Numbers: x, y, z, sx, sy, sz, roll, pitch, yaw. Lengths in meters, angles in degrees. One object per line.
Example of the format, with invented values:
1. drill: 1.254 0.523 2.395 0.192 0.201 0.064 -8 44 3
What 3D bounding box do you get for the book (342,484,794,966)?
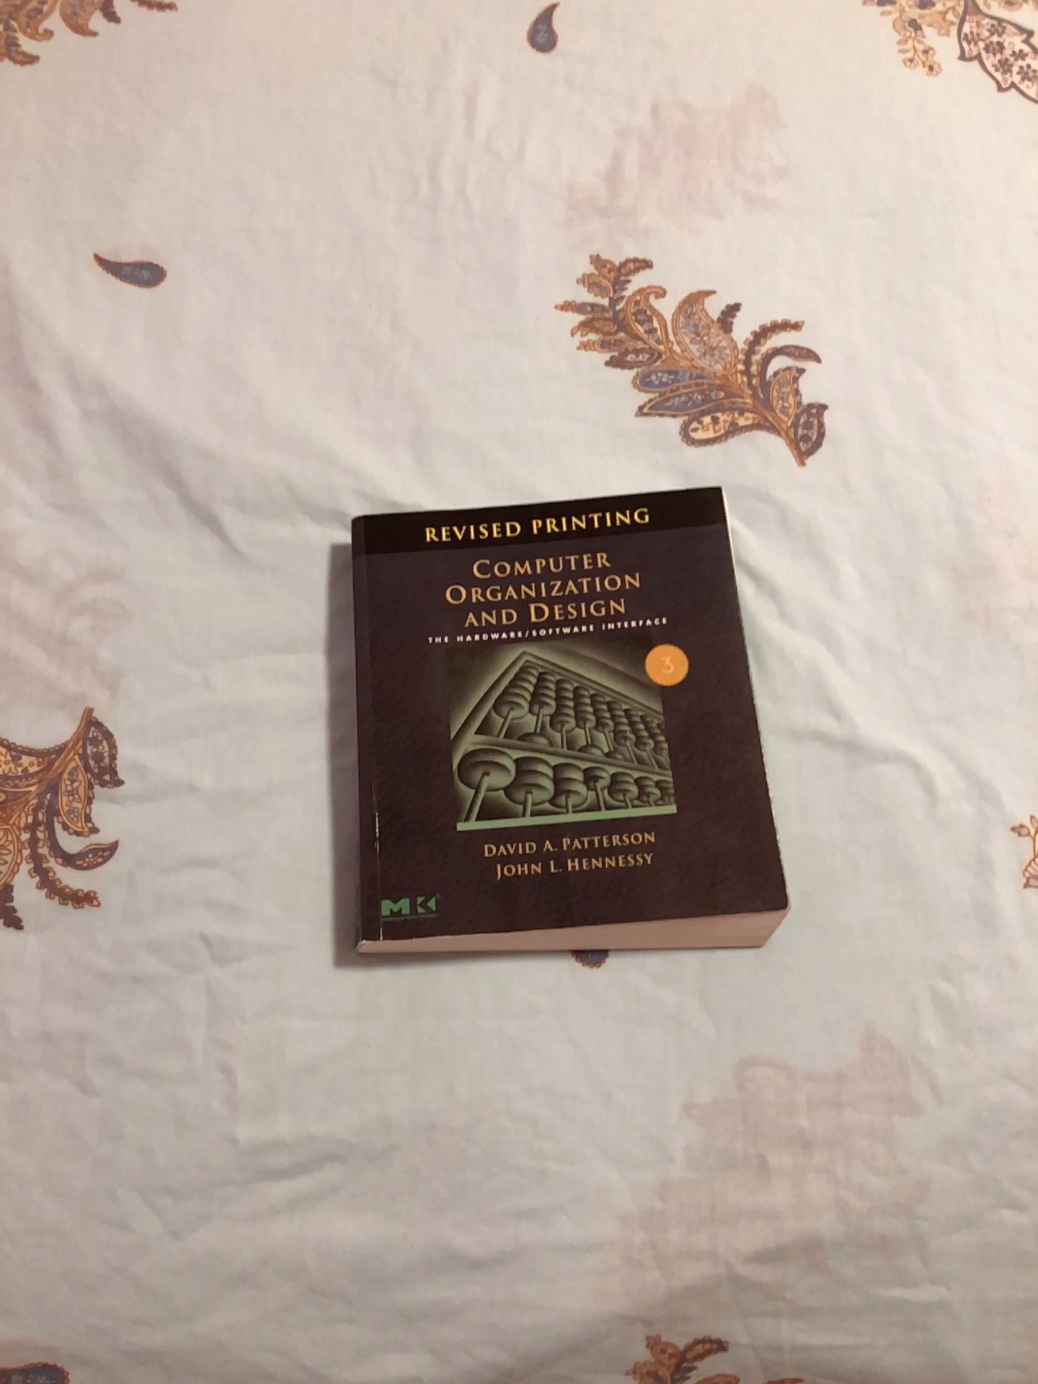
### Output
1. book: 0.016 0.015 0.592 0.201 0.073 0.225 -4 70 -3
